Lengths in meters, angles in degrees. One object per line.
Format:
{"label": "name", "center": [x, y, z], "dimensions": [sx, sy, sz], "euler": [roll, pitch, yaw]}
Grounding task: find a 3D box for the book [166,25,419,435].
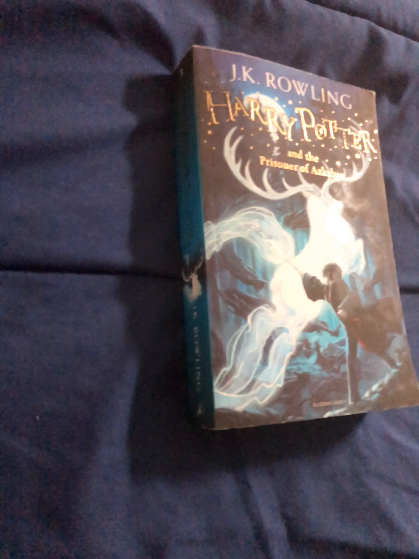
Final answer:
{"label": "book", "center": [0.048, -0.025, 0.268], "dimensions": [0.134, 0.045, 0.200], "euler": [2, 80, -26]}
